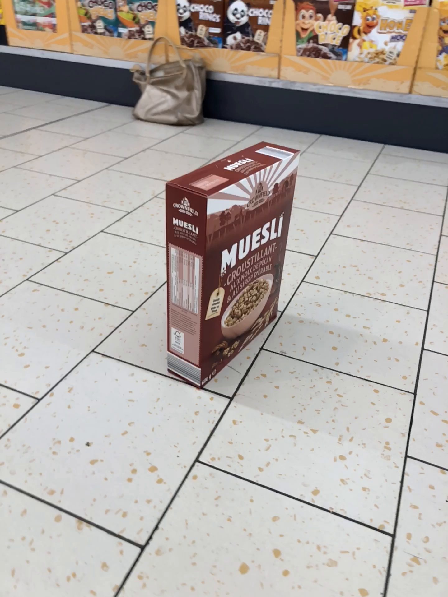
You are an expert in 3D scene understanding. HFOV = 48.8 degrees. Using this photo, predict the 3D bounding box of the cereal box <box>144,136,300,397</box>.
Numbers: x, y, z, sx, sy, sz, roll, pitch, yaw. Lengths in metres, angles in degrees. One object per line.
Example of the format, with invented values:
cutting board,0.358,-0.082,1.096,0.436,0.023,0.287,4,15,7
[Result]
cereal box,0.002,-0.043,0.593,0.060,0.248,0.201,22,38,28
